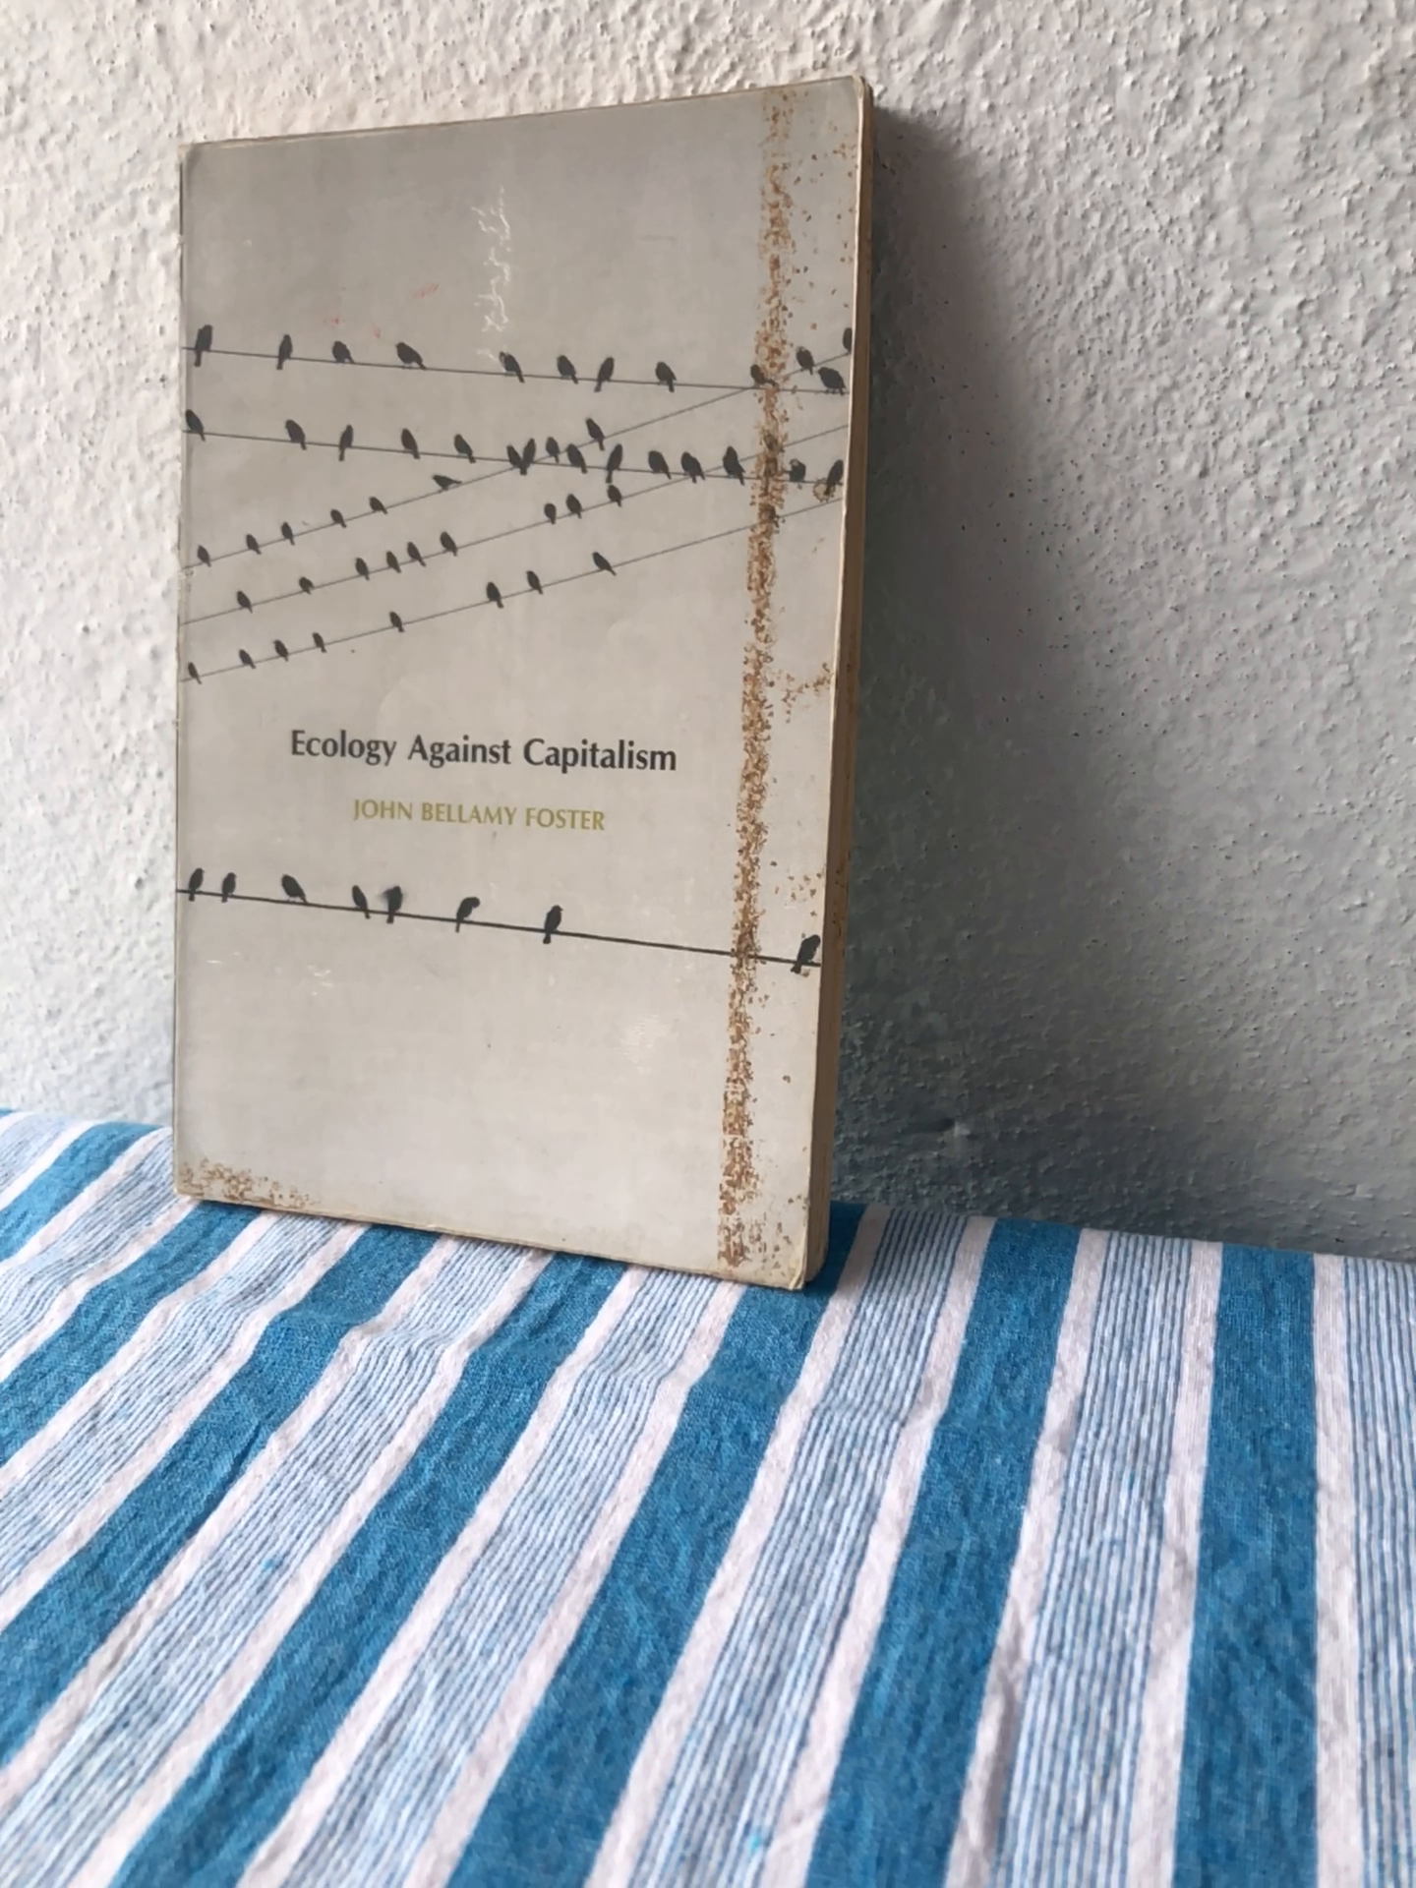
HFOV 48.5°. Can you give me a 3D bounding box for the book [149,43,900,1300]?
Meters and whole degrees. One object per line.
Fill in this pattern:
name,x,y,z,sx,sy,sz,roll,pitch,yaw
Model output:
book,-0.039,-0.049,0.304,0.140,0.210,0.030,3,2,23
